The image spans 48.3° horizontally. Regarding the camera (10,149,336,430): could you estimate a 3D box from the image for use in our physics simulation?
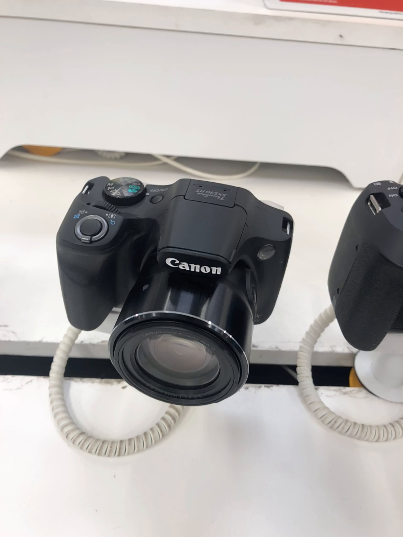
[{"bbox_3d":[-0.009,0.010,0.222,0.120,0.089,0.081,9,43,3],"label":"camera"}]
